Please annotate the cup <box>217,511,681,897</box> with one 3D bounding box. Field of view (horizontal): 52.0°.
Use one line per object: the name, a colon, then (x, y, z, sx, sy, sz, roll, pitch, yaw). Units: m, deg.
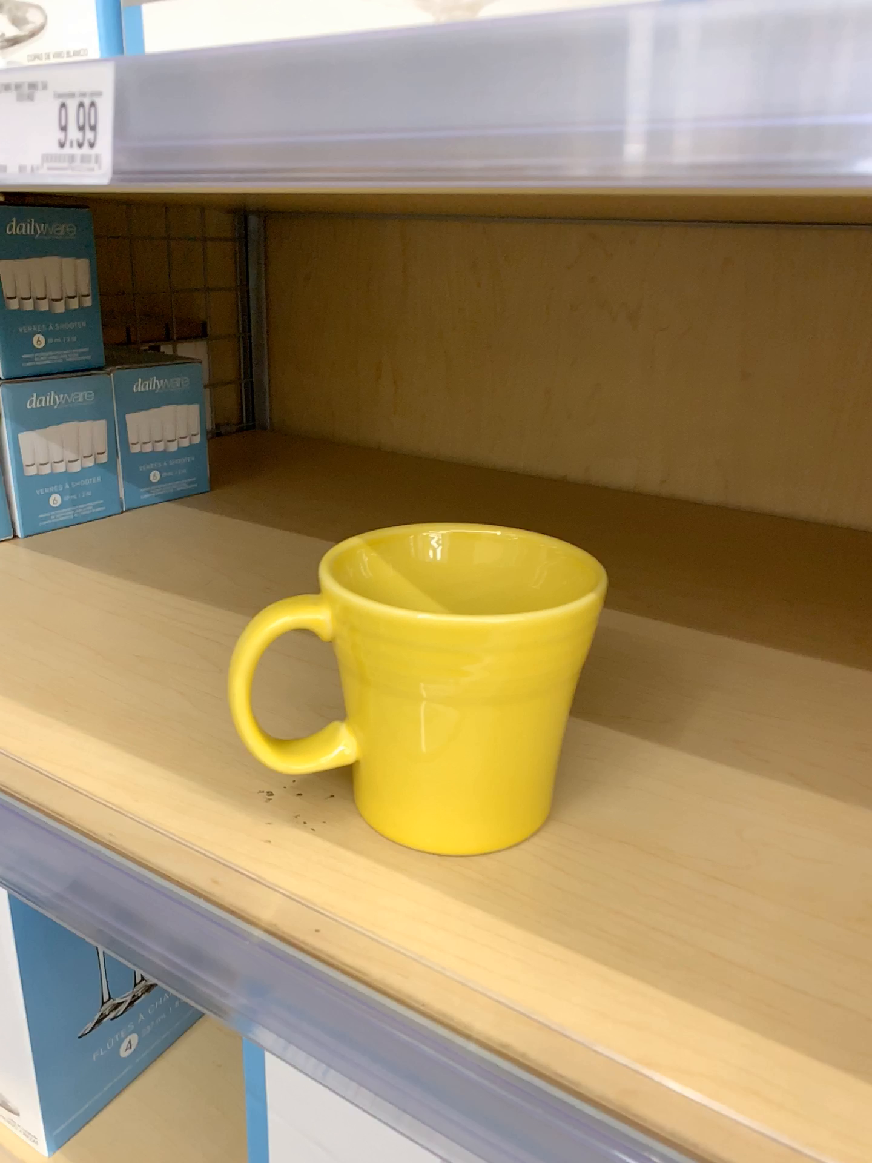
cup: (-0.002, 0.034, 0.337, 0.139, 0.088, 0.104, -6, 21, -20)
